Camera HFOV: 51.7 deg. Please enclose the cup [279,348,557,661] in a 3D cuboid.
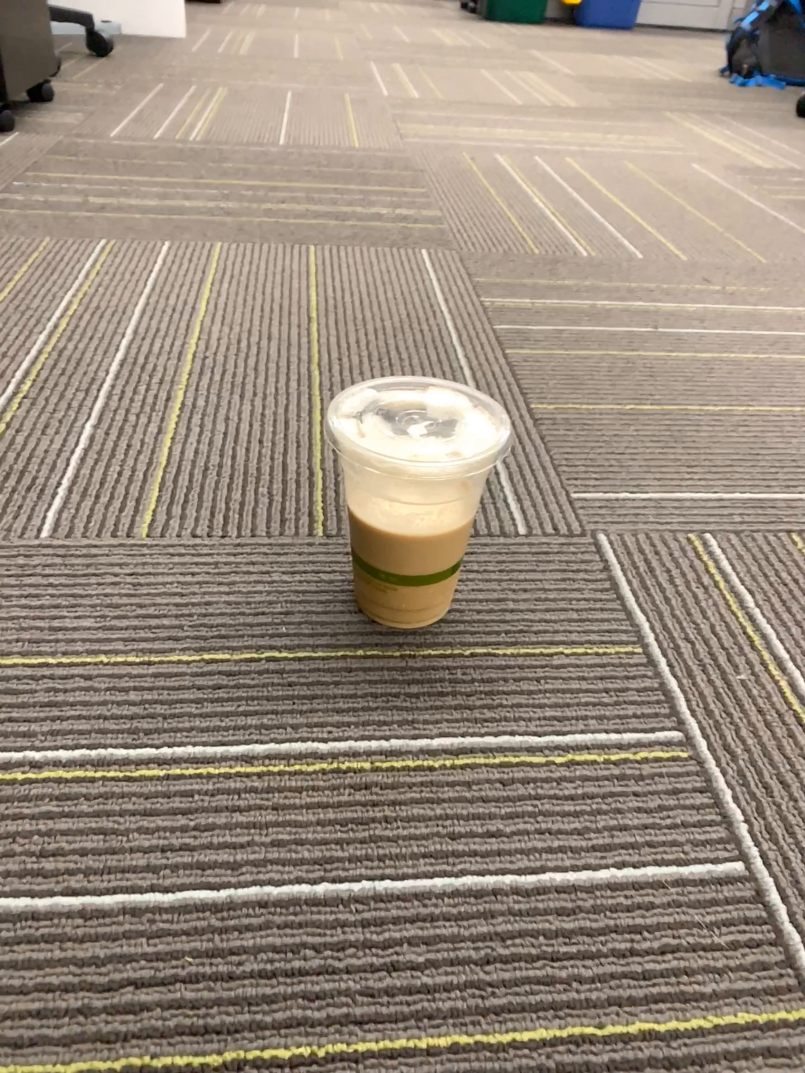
[{"bbox_3d":[0.006,-0.022,0.452,0.100,0.109,0.100,3,36,-2],"label":"cup"}]
